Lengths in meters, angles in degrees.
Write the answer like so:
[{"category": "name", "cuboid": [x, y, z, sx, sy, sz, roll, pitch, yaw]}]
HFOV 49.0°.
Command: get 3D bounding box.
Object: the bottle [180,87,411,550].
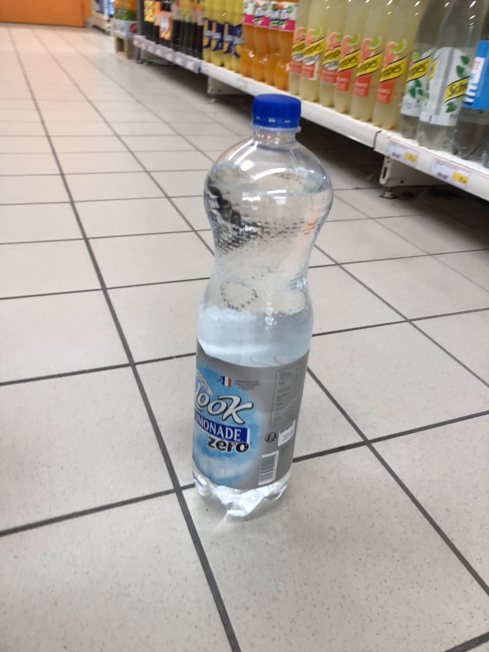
[{"category": "bottle", "cuboid": [0.025, 0.003, 0.414, 0.100, 0.328, 0.101, 4, 29, -2]}]
